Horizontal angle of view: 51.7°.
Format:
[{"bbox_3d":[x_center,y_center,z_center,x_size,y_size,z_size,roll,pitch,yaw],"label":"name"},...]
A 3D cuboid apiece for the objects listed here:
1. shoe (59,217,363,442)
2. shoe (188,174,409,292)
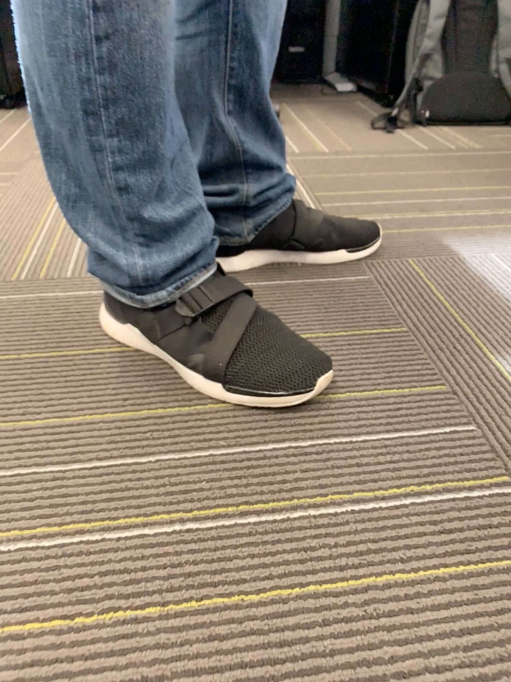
[{"bbox_3d":[-0.055,-0.030,0.564,0.301,0.109,0.120,22,39,29],"label":"shoe"},{"bbox_3d":[0.056,-0.168,0.799,0.300,0.119,0.121,-6,34,-9],"label":"shoe"}]
